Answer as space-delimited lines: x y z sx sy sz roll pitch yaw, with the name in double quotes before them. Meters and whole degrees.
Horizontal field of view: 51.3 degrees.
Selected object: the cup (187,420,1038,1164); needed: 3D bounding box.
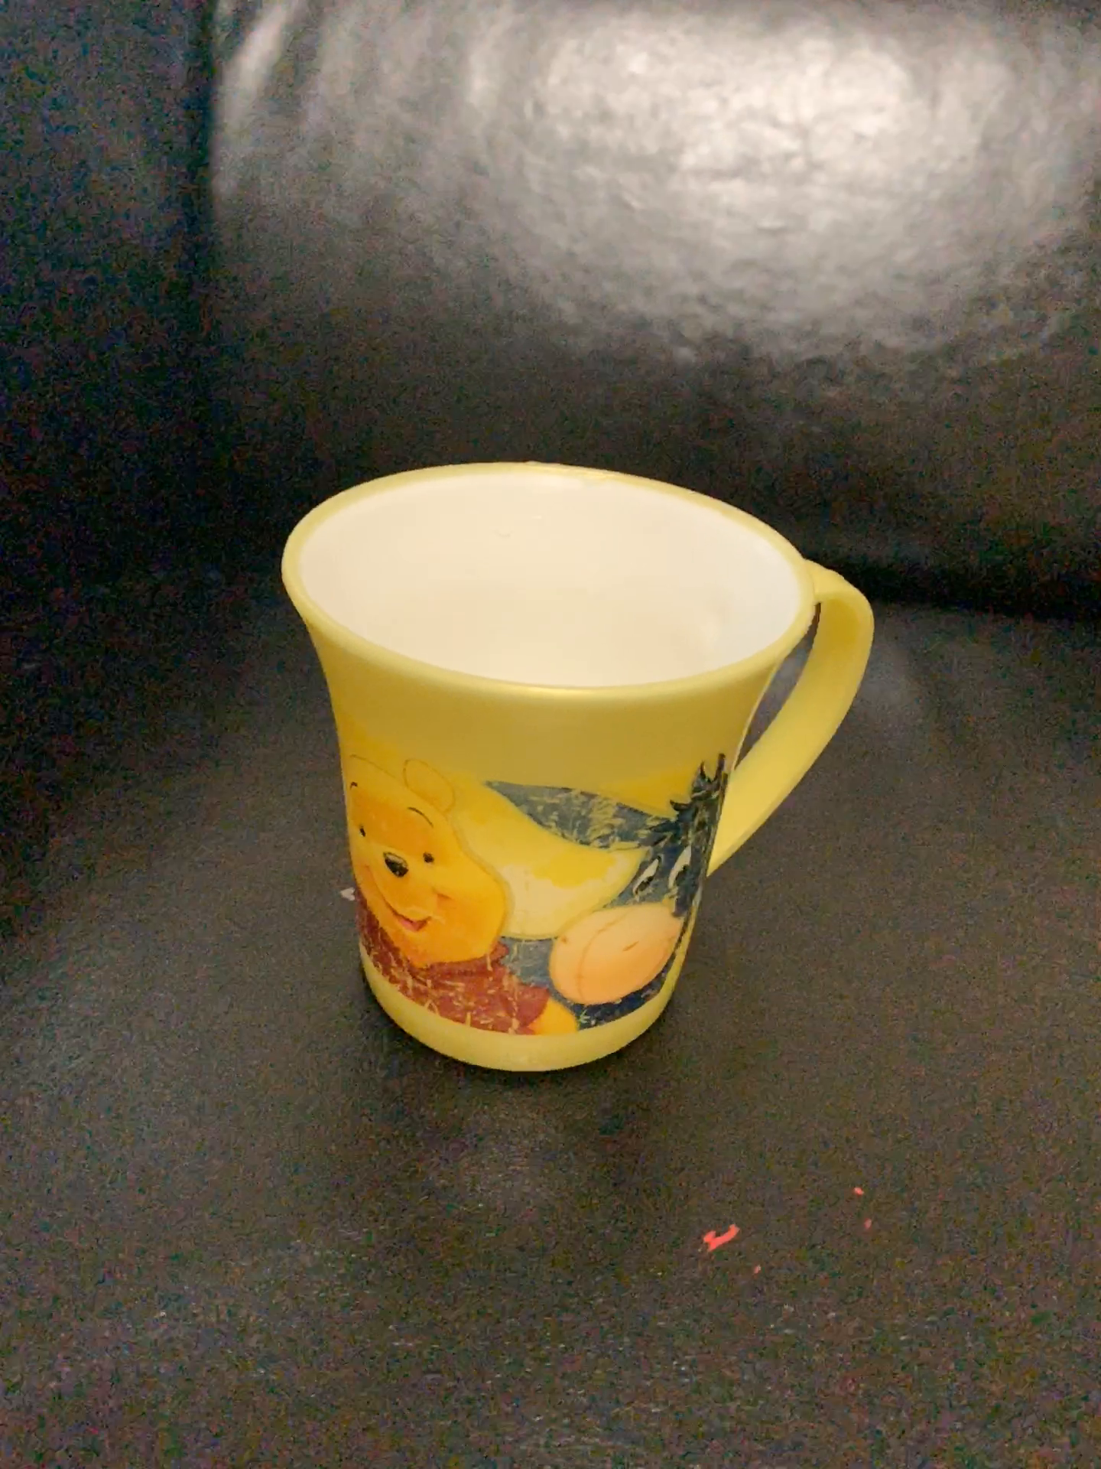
"cup" 0.009 -0.003 0.222 0.120 0.080 0.090 -17 37 -31
